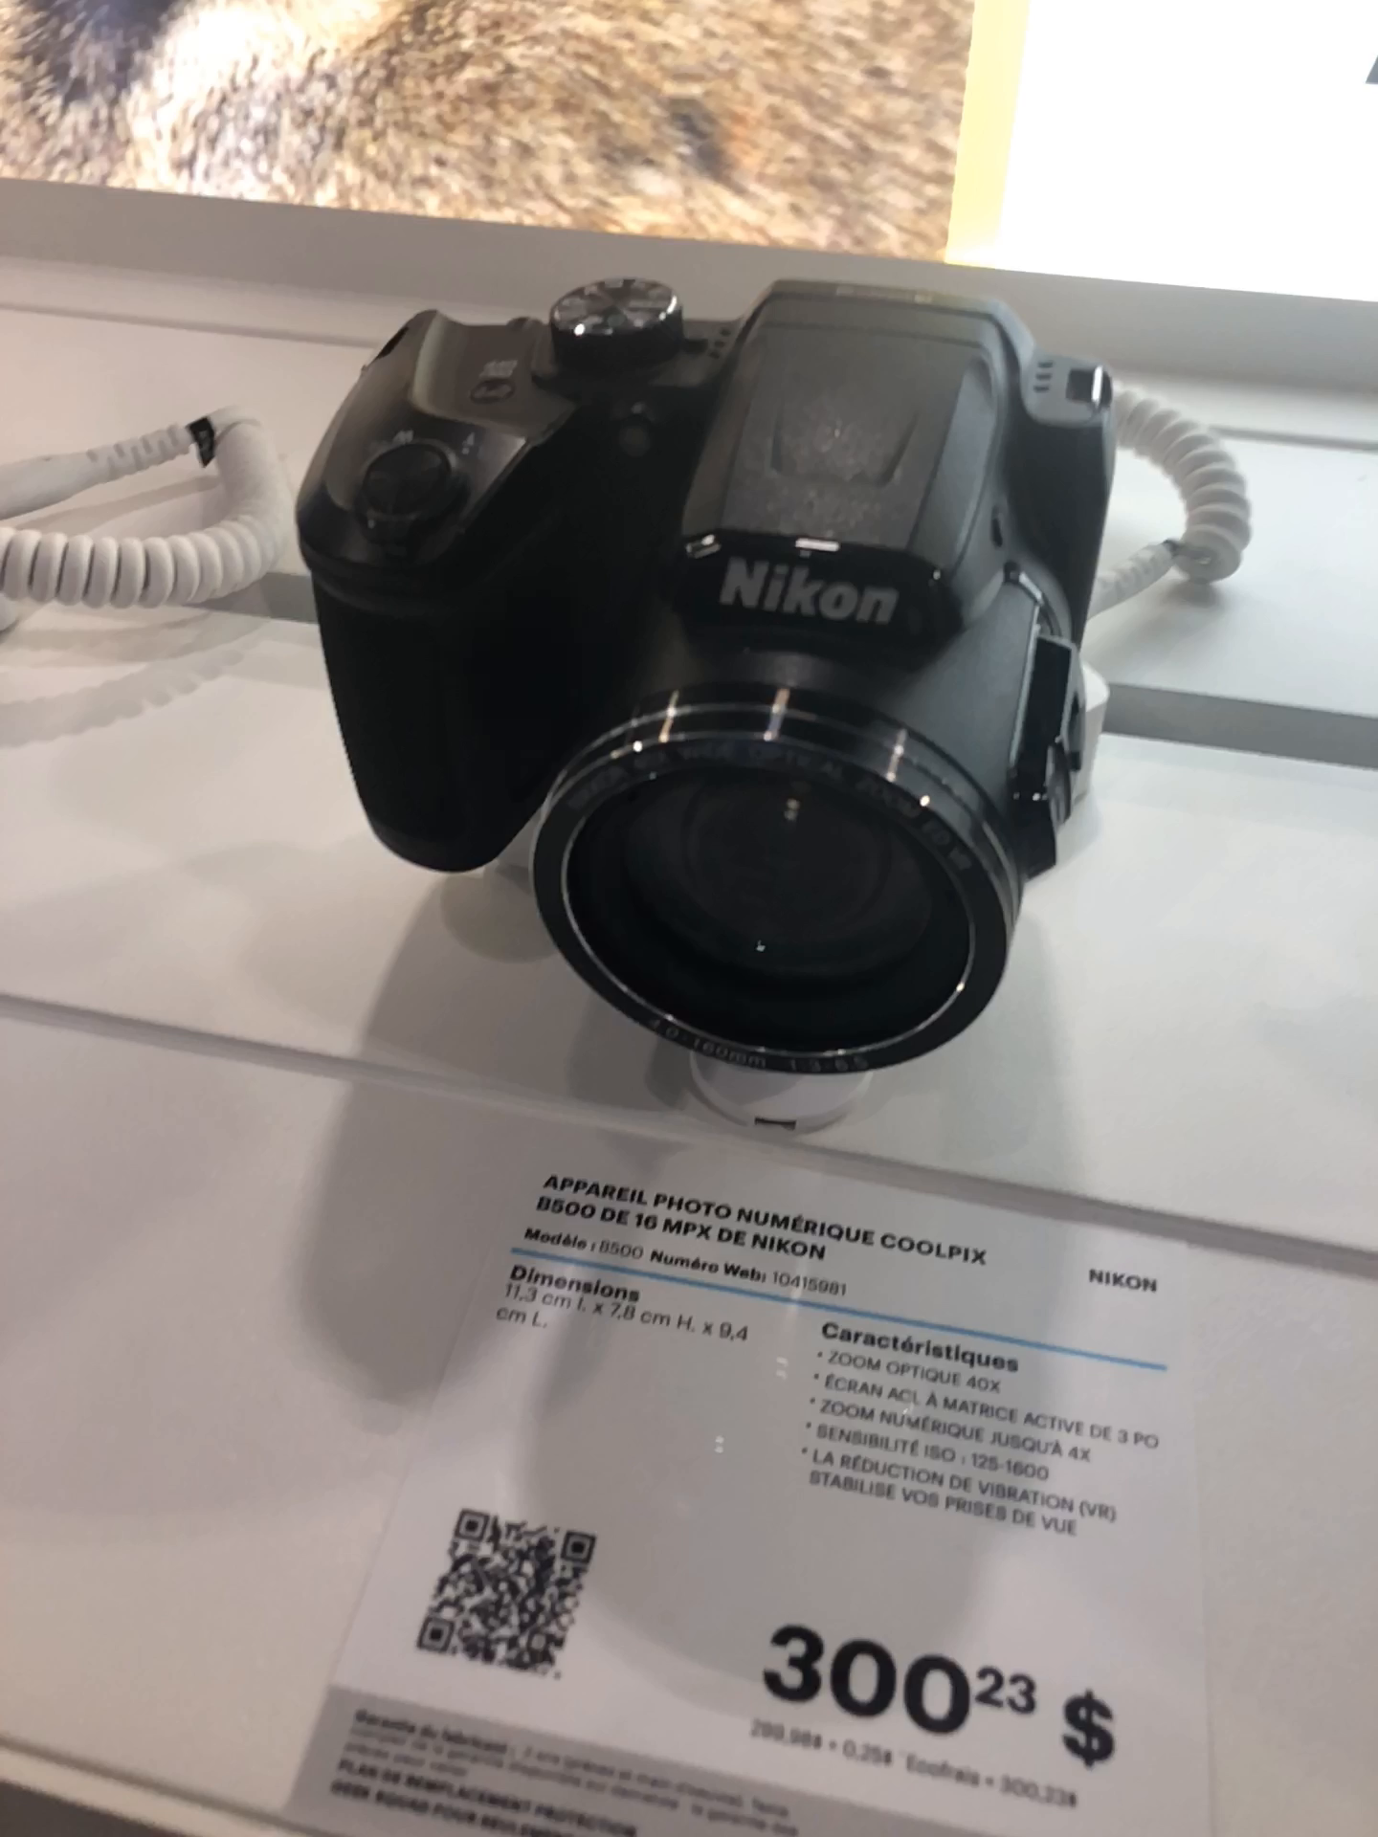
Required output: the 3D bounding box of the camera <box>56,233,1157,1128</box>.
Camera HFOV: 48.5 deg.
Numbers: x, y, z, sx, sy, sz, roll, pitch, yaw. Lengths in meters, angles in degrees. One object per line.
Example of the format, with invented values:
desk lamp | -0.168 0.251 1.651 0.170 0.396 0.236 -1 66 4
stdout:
camera | -0.002 -0.037 0.202 0.111 0.069 0.085 9 43 10
